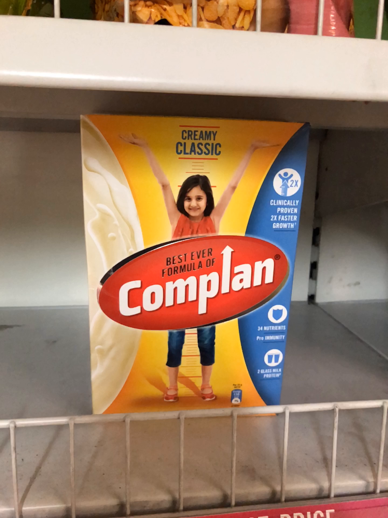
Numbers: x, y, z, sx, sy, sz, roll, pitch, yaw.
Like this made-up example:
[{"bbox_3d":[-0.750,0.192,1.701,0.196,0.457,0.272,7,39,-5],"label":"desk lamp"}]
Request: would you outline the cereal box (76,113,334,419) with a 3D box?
[{"bbox_3d":[0.004,0.006,0.302,0.150,0.199,0.050,0,16,-6],"label":"cereal box"}]
